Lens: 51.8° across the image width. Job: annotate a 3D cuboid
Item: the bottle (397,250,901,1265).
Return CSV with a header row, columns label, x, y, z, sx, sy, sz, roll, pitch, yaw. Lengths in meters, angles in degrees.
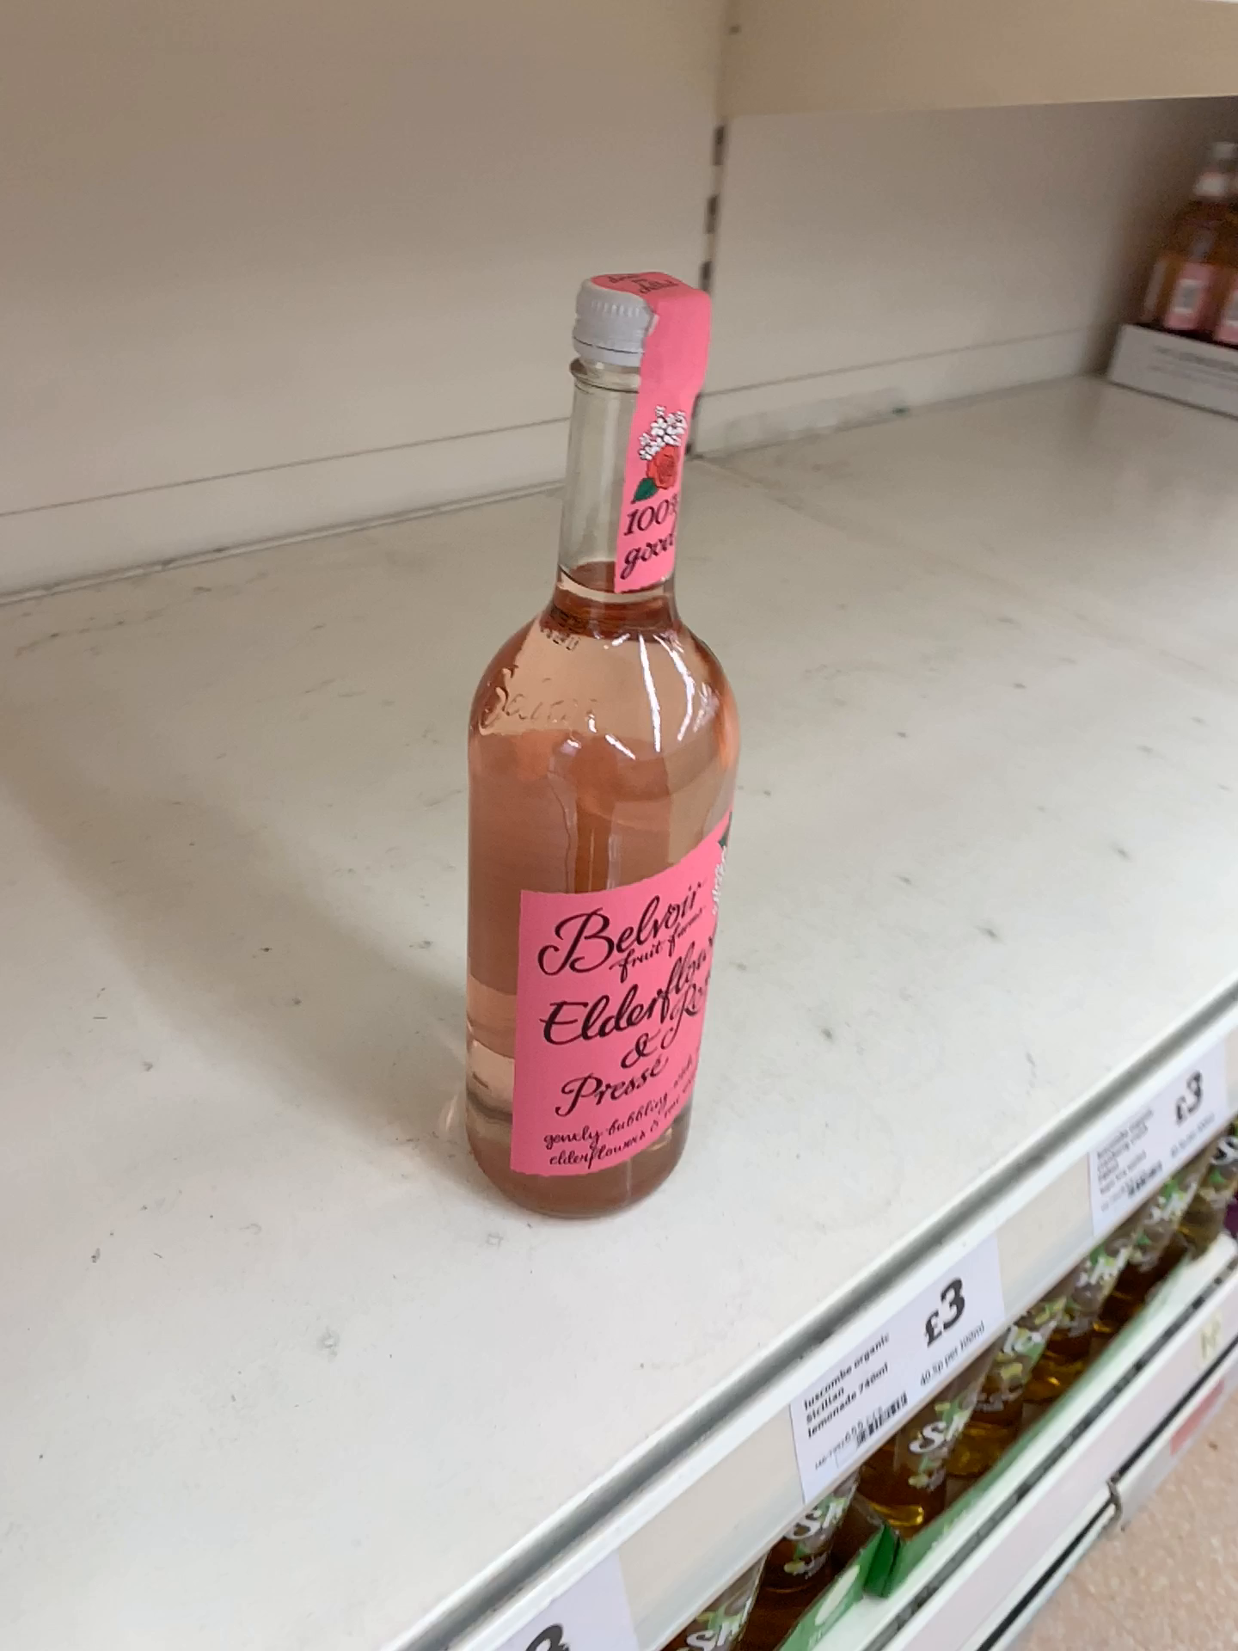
label,x,y,z,sx,sy,sz,roll,pitch,yaw
bottle,-0.005,-0.010,0.370,0.087,0.274,0.087,3,33,-2
